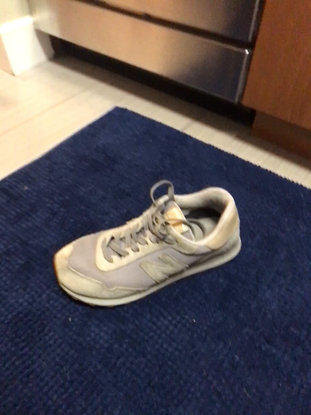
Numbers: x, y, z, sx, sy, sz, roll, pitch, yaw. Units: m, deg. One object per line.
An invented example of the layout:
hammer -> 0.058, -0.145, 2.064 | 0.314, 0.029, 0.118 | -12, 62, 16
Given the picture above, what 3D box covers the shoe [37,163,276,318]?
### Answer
shoe -> -0.006, 0.038, 0.464 | 0.280, 0.099, 0.131 | -9, 48, -10
